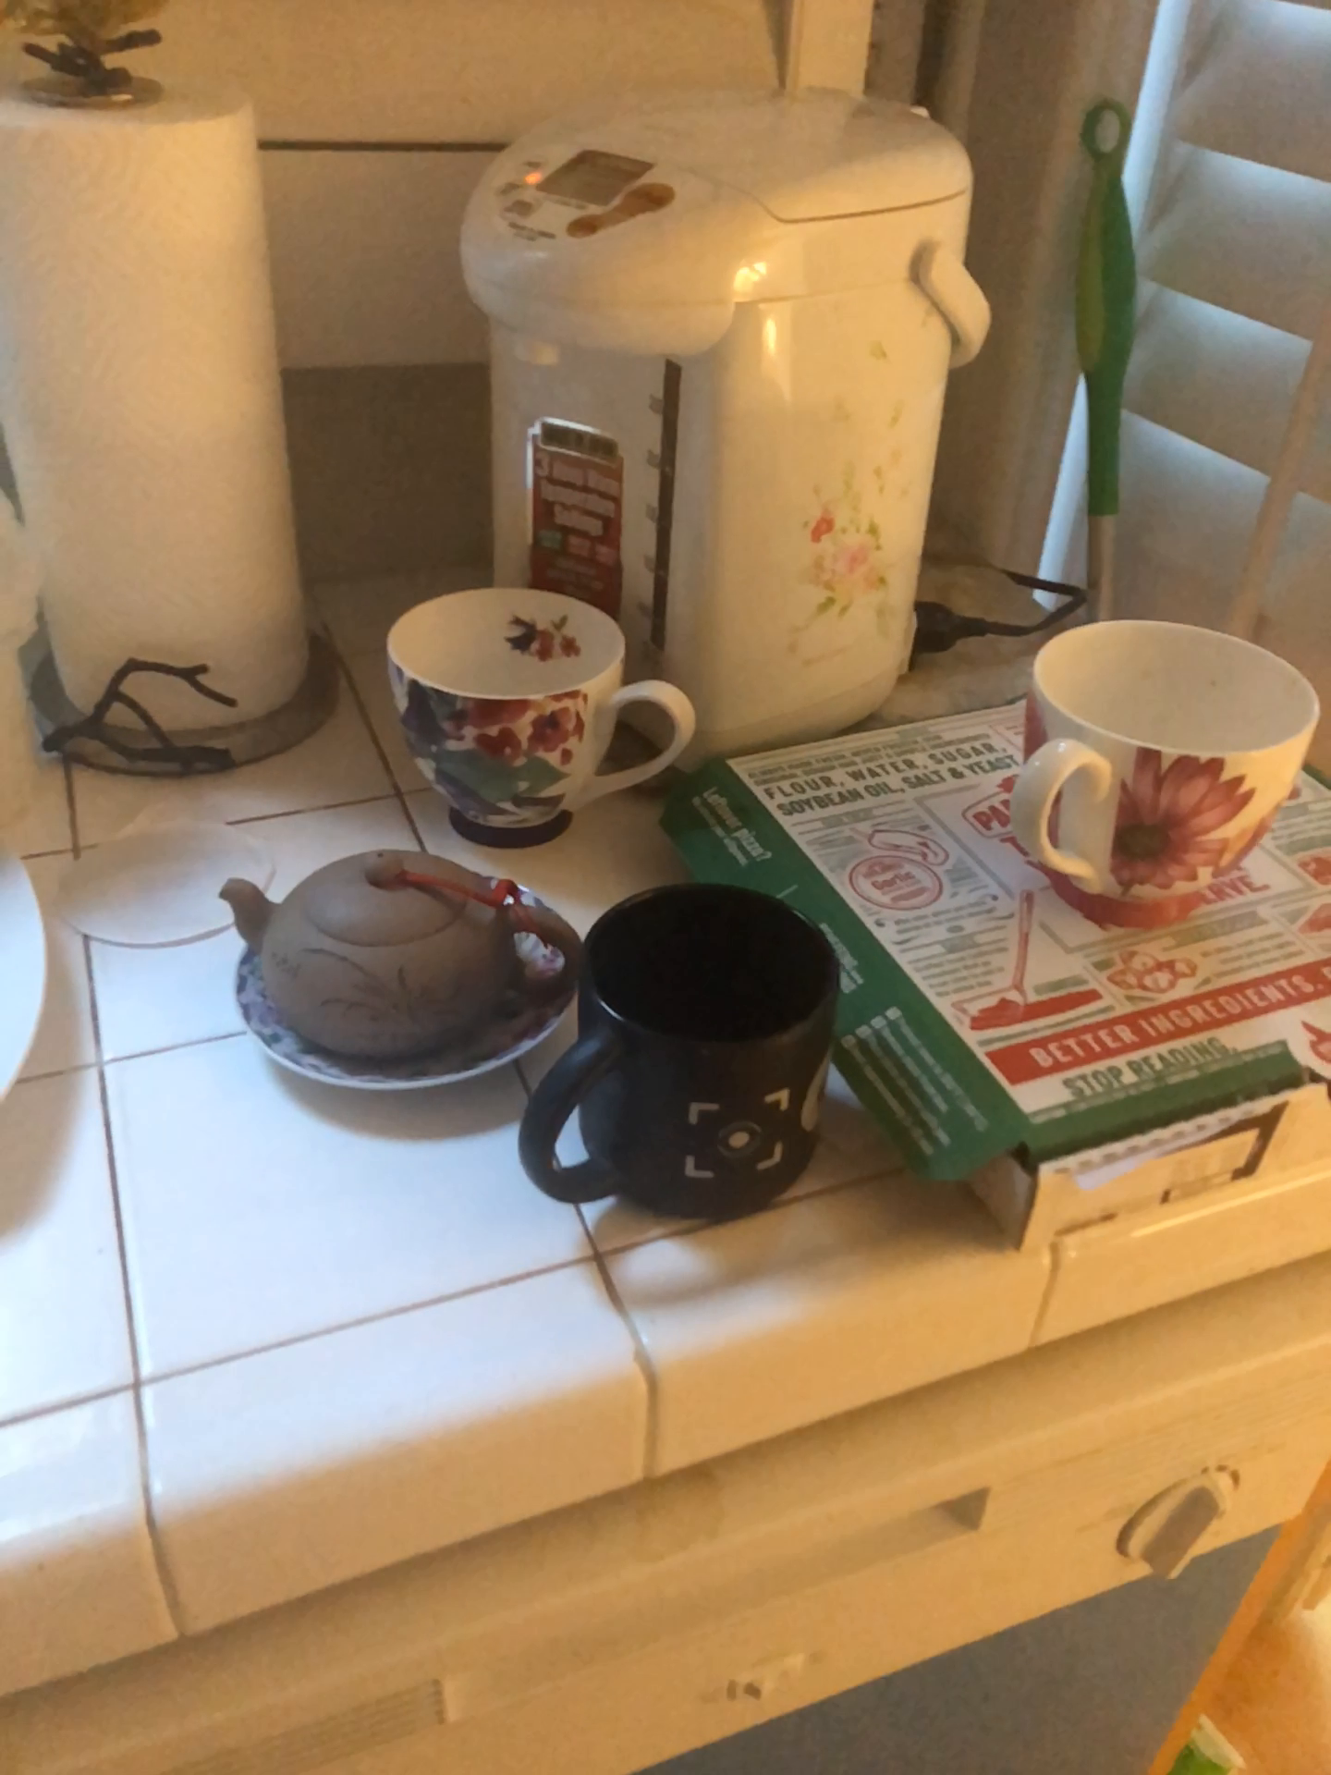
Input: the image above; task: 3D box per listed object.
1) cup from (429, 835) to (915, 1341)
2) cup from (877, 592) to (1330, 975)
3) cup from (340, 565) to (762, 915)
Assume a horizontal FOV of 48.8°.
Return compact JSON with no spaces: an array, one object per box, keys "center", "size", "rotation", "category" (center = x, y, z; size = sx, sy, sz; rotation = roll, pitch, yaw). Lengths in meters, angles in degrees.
[{"center":[0.001,0.066,0.528],"size":[0.141,0.099,0.090],"rotation":[-24,44,-32],"category":"cup"},{"center":[0.181,-0.048,0.585],"size":[0.151,0.069,0.110],"rotation":[-22,43,-30],"category":"cup"},{"center":[-0.052,-0.074,0.696],"size":[0.160,0.089,0.111],"rotation":[16,38,16],"category":"cup"}]
